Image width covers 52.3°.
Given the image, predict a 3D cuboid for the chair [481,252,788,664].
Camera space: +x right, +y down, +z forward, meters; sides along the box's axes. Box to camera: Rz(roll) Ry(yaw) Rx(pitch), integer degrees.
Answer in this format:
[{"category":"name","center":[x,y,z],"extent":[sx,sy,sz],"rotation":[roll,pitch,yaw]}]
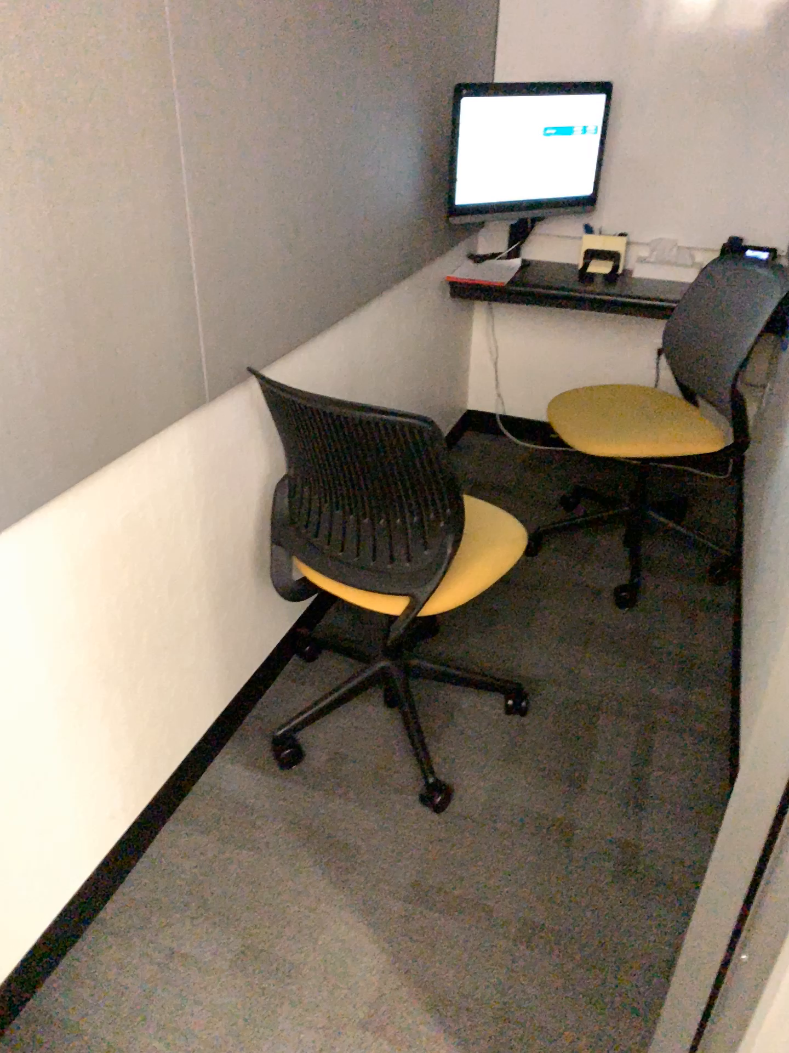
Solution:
[{"category":"chair","center":[0.945,-0.296,2.773],"extent":[0.950,1.034,0.926],"rotation":[-6,31,-13]}]

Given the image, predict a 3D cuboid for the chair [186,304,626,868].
[{"category":"chair","center":[0.023,0.076,1.645],"extent":[0.552,0.845,0.572],"rotation":[23,37,32]}]
